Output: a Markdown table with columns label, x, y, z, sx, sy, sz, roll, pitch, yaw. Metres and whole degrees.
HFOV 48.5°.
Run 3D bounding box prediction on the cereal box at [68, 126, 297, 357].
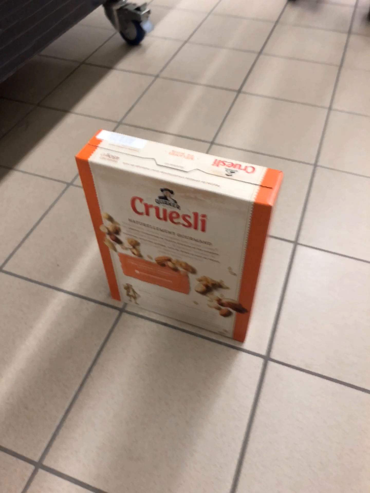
| label | x | y | z | sx | sy | sz | roll | pitch | yaw |
| --- | --- | --- | --- | --- | --- | --- | --- | --- | --- |
| cereal box | -0.002 | 0.008 | 0.465 | 0.200 | 0.248 | 0.060 | 16 | 51 | 15 |
